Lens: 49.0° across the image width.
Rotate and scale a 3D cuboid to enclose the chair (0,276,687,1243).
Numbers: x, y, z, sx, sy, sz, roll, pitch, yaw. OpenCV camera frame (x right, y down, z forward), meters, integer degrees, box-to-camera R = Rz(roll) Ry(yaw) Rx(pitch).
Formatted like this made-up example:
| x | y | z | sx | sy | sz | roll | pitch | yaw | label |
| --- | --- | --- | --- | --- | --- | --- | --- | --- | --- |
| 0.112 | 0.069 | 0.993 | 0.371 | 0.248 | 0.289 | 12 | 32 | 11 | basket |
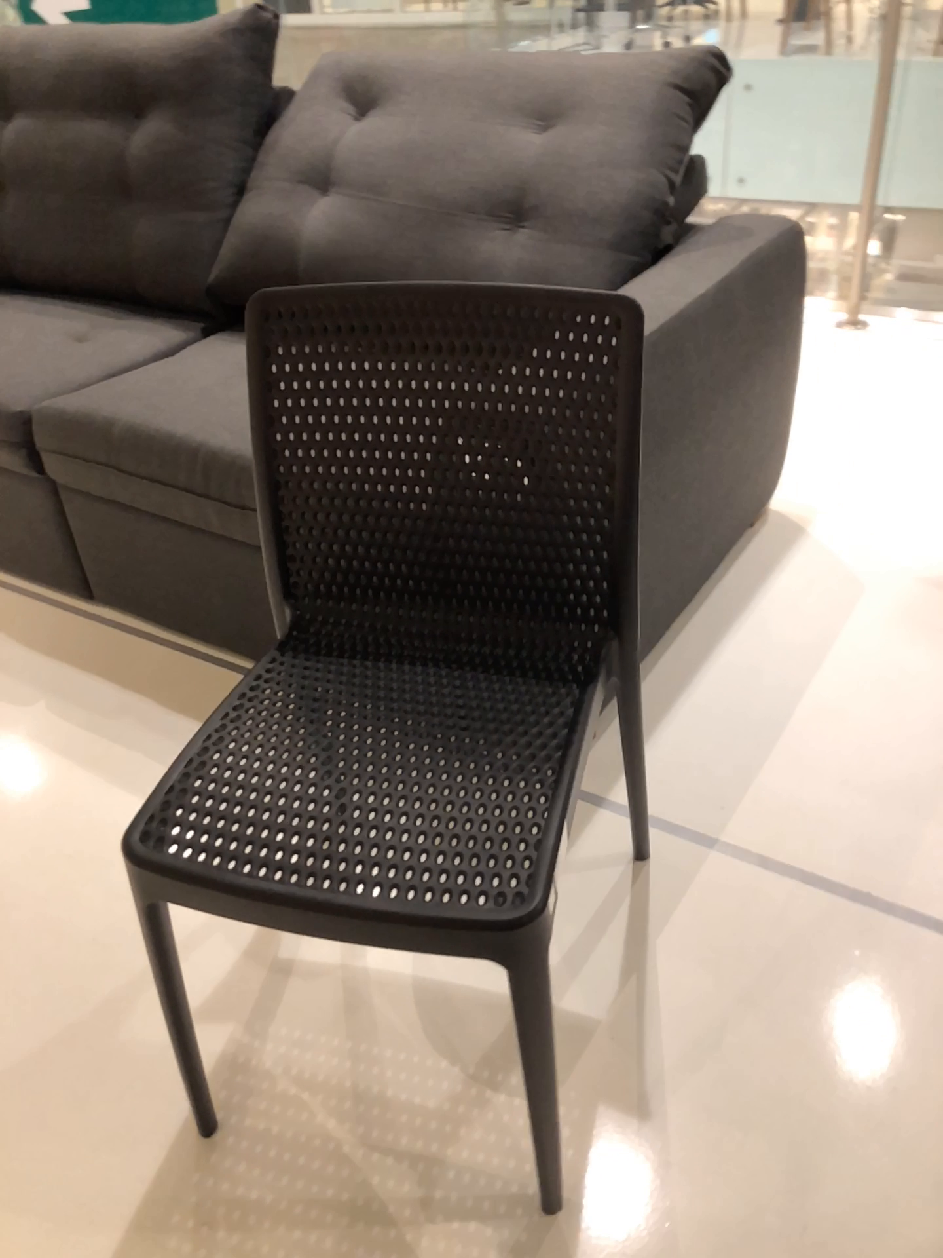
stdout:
| x | y | z | sx | sy | sz | roll | pitch | yaw | label |
| --- | --- | --- | --- | --- | --- | --- | --- | --- | --- |
| -0.079 | 0.109 | 1.099 | 0.530 | 0.783 | 0.564 | 5 | 36 | 14 | chair |
